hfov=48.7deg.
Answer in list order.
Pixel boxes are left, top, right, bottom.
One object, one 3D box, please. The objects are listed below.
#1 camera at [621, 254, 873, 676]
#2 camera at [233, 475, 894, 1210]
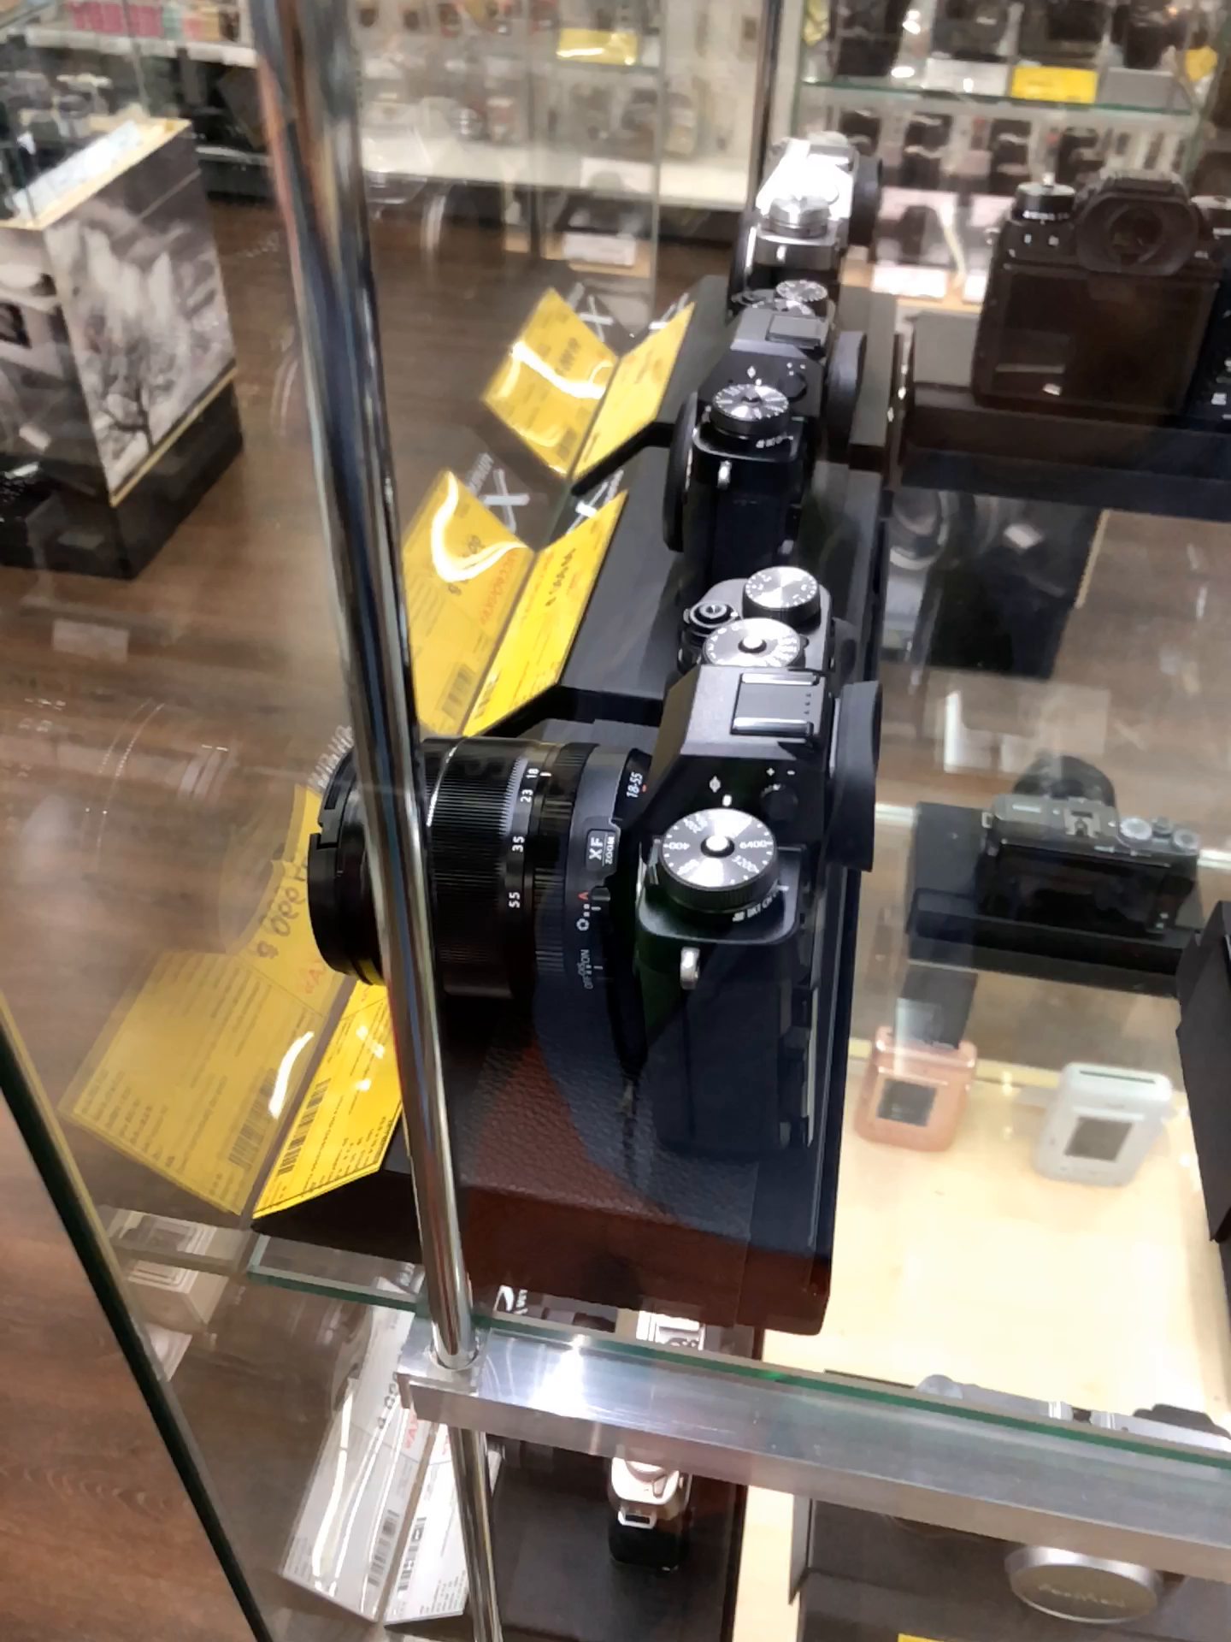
[{"bbox_3d":[0.047,-0.126,0.471,0.066,0.088,0.126,8,42,7],"label":"camera"},{"bbox_3d":[-0.002,0.000,0.322,0.119,0.099,0.129,7,42,6],"label":"camera"}]
